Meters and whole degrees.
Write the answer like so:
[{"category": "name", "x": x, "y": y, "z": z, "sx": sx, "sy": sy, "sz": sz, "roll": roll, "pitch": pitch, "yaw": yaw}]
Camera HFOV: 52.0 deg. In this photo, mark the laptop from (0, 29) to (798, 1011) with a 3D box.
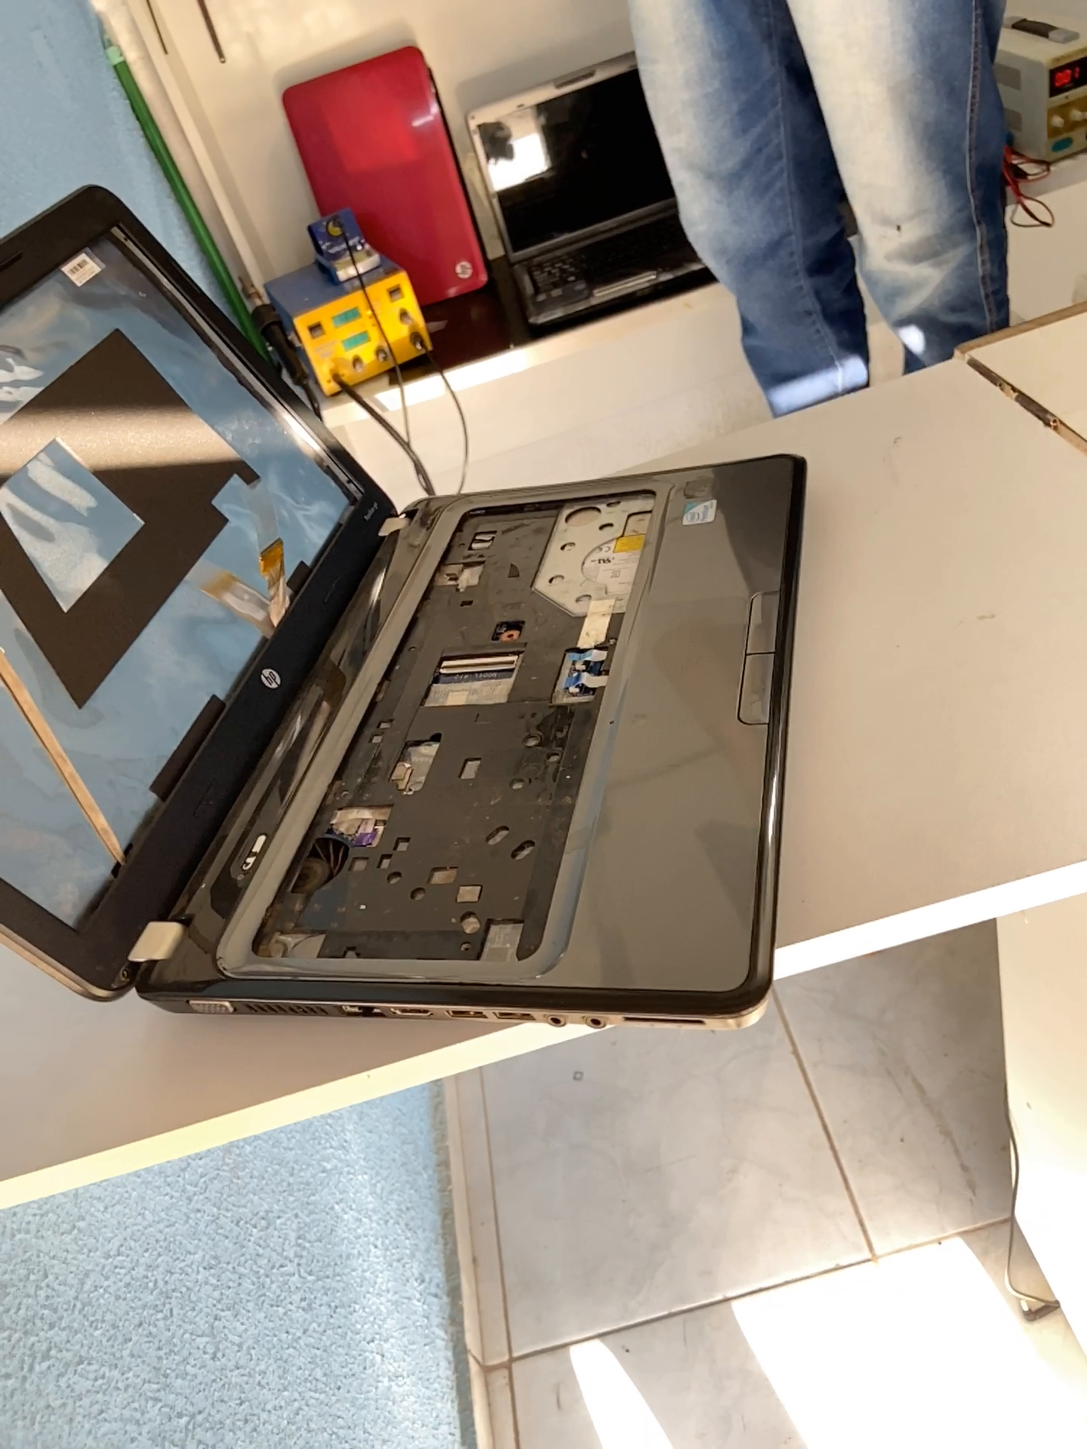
[{"category": "laptop", "x": -0.086, "y": -0.093, "z": 0.447, "sx": 0.323, "sy": 0.194, "sz": 0.337, "roll": -3, "pitch": 41, "yaw": 20}]
